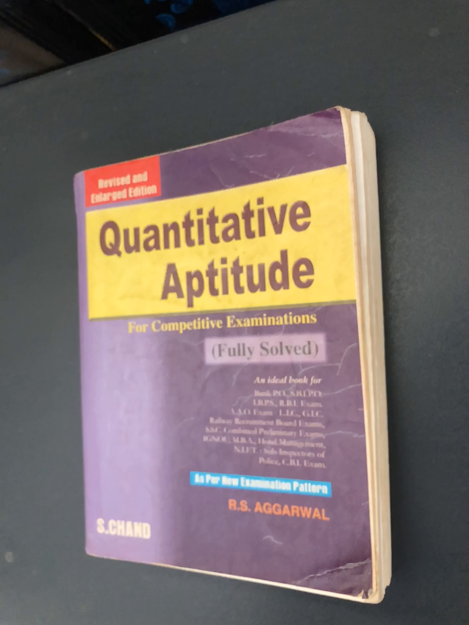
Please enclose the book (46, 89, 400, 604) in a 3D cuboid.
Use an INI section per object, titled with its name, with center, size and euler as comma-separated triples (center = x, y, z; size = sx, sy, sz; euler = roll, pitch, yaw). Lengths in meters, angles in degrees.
[book]
center = -0.013, 0.017, 0.285
size = 0.180, 0.050, 0.220
euler = -3, 87, 24
